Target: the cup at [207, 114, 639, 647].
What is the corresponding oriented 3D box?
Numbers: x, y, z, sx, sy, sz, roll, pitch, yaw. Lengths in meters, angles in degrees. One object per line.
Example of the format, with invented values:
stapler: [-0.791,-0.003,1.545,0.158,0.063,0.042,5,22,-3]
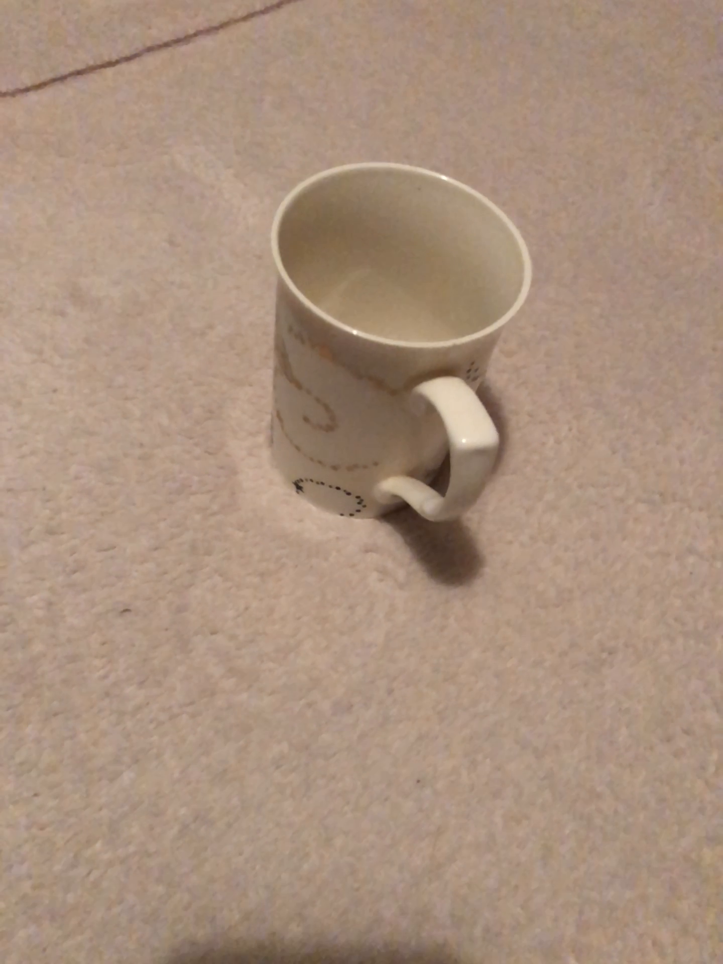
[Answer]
cup: [0.007,-0.030,0.258,0.073,0.110,0.112,-18,59,-18]
